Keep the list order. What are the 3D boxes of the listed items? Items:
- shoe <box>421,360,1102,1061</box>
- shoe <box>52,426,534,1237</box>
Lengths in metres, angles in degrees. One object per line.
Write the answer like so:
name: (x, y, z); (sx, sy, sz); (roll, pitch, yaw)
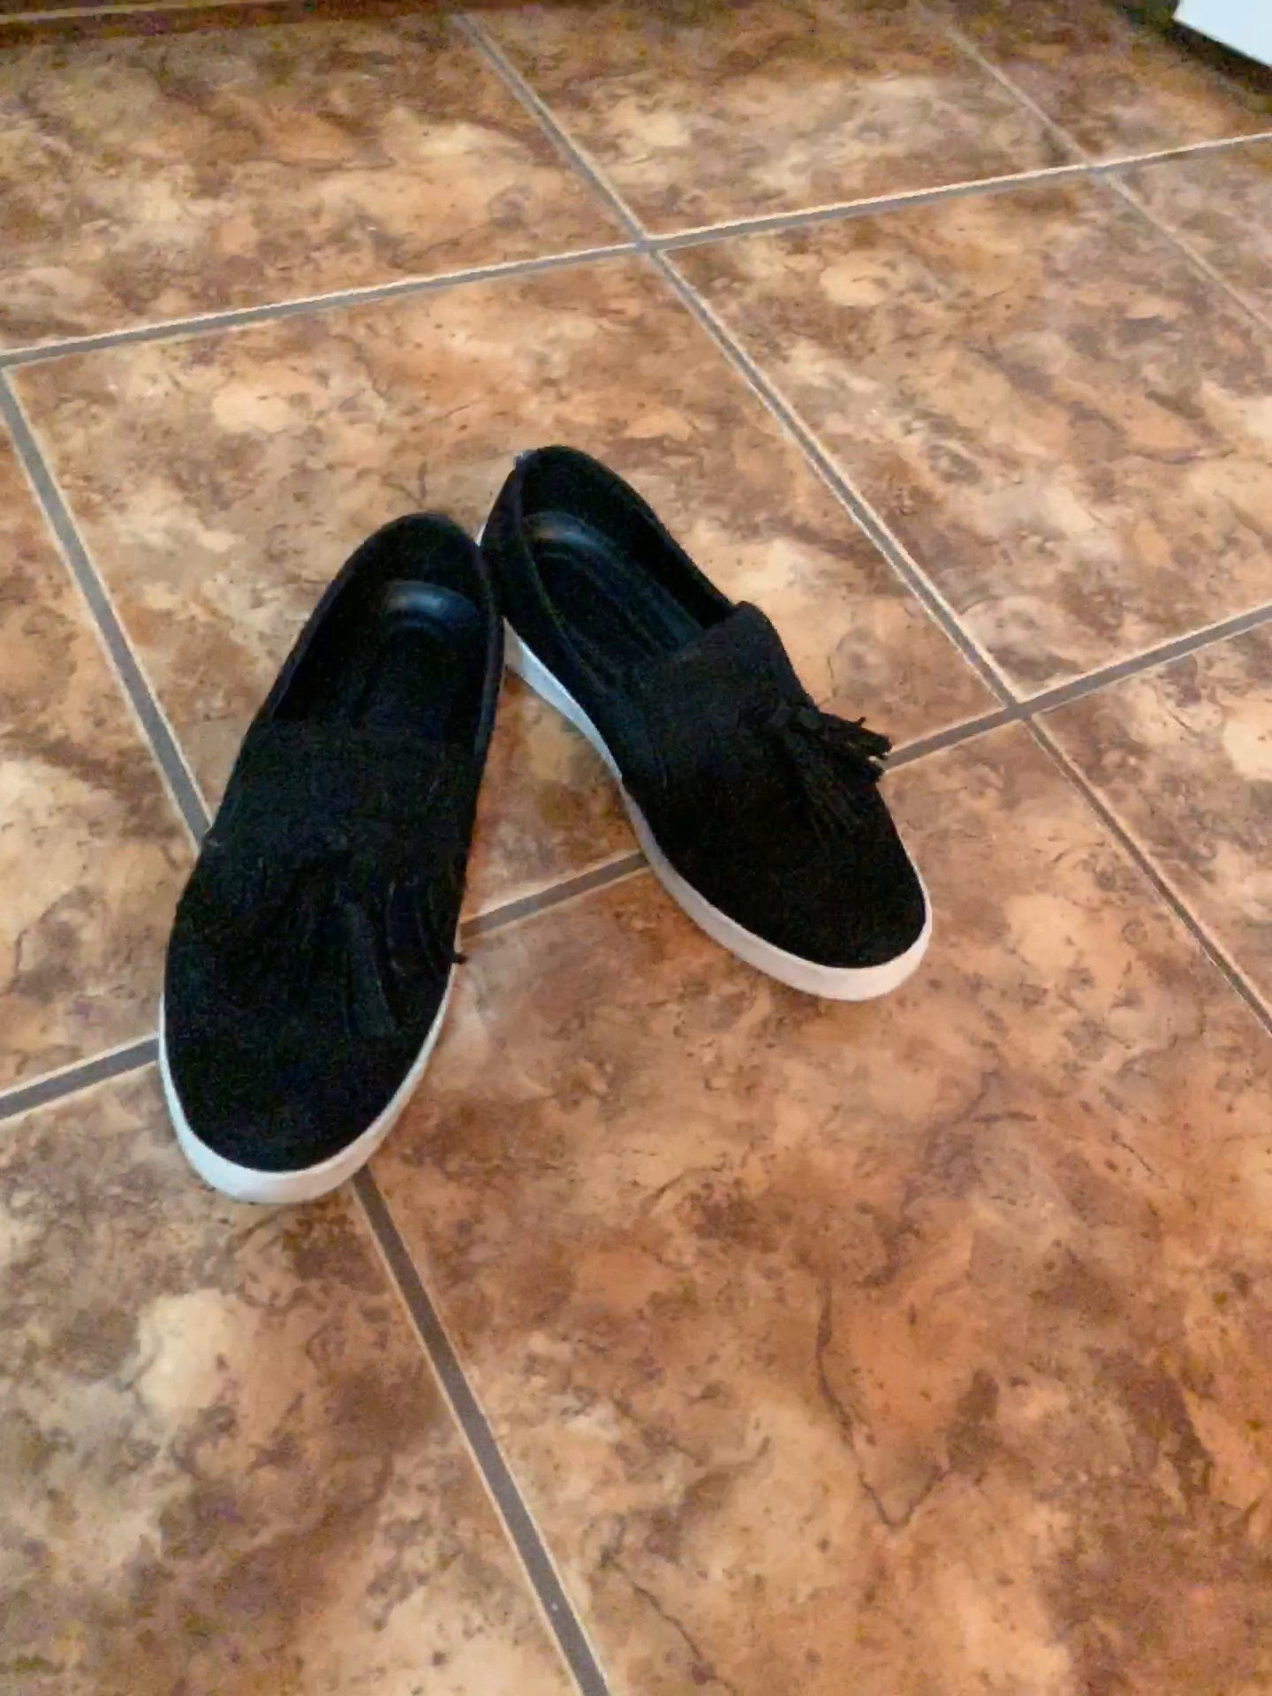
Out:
shoe: (0.033, -0.059, 0.491); (0.097, 0.094, 0.250); (-31, 68, -28)
shoe: (-0.099, -0.013, 0.432); (0.097, 0.094, 0.250); (8, 56, -7)
